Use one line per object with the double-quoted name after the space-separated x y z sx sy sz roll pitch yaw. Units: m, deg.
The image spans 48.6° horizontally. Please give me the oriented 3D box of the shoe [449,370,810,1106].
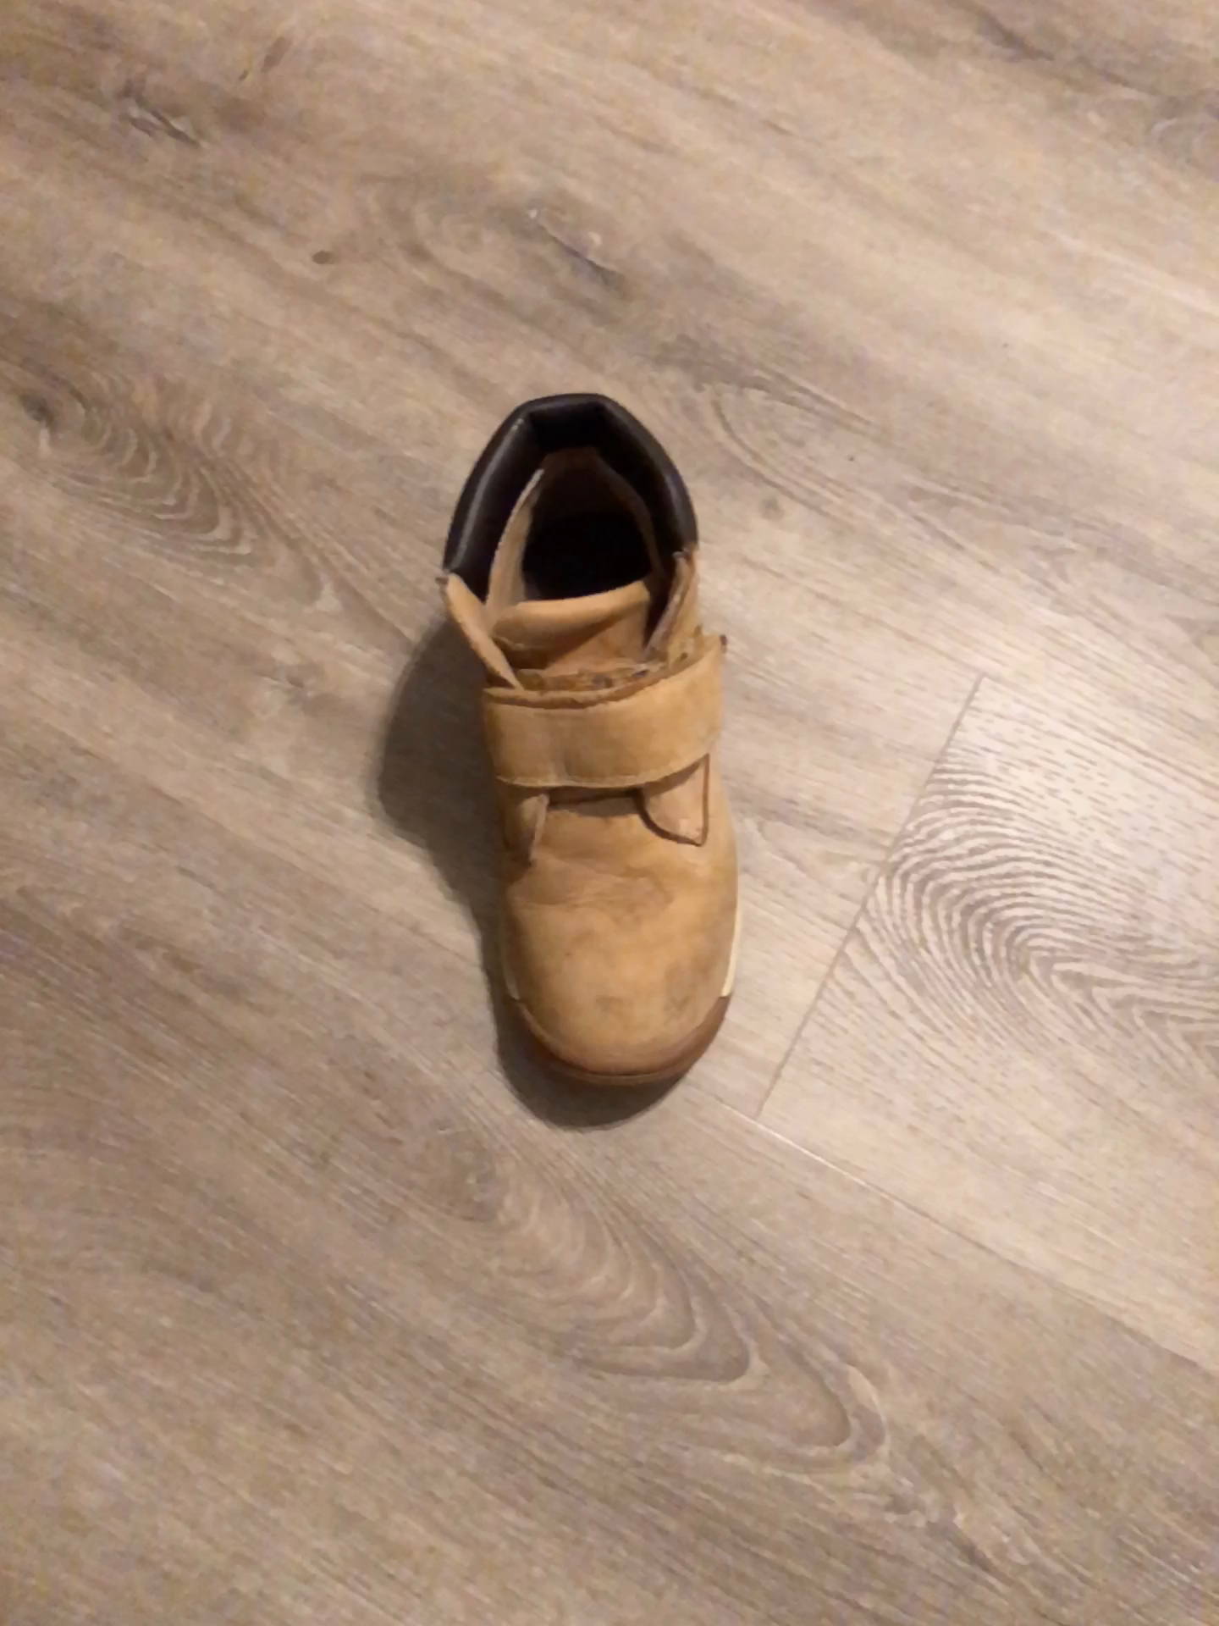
0.002 -0.018 0.414 0.090 0.100 0.200 -2 73 0 "shoe"
